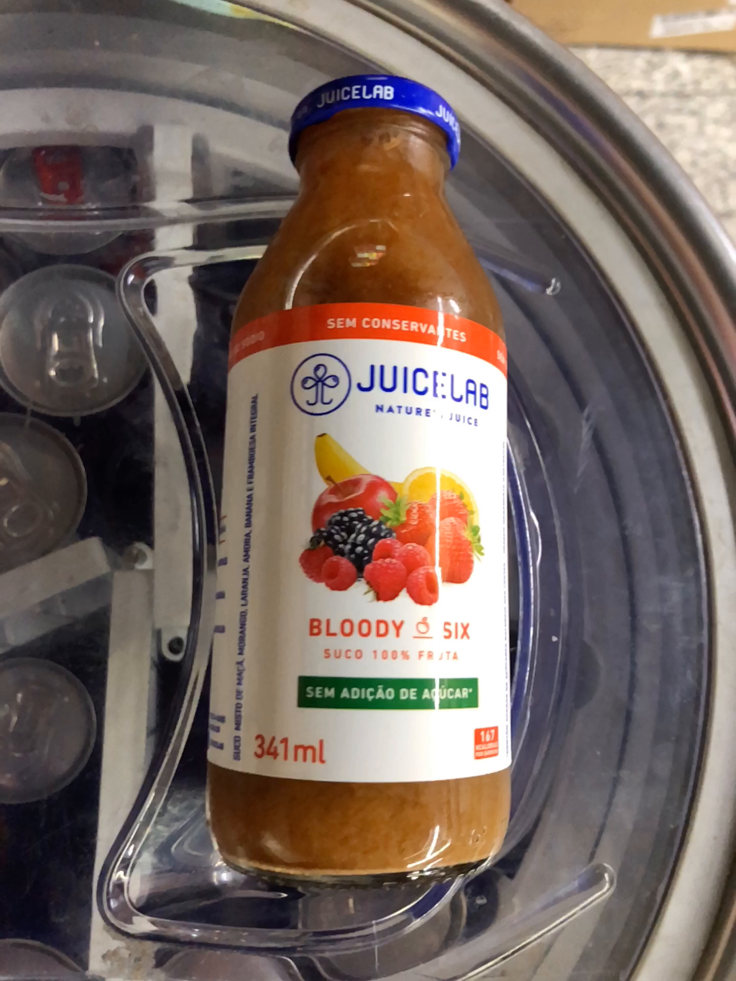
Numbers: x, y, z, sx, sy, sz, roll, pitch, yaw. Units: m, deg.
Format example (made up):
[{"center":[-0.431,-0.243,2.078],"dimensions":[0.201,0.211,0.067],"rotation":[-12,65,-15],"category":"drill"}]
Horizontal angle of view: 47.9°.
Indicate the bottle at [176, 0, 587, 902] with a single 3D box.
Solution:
[{"center":[-0.001,-0.017,0.194],"dimensions":[0.070,0.060,0.190],"rotation":[4,77,-19],"category":"bottle"}]
